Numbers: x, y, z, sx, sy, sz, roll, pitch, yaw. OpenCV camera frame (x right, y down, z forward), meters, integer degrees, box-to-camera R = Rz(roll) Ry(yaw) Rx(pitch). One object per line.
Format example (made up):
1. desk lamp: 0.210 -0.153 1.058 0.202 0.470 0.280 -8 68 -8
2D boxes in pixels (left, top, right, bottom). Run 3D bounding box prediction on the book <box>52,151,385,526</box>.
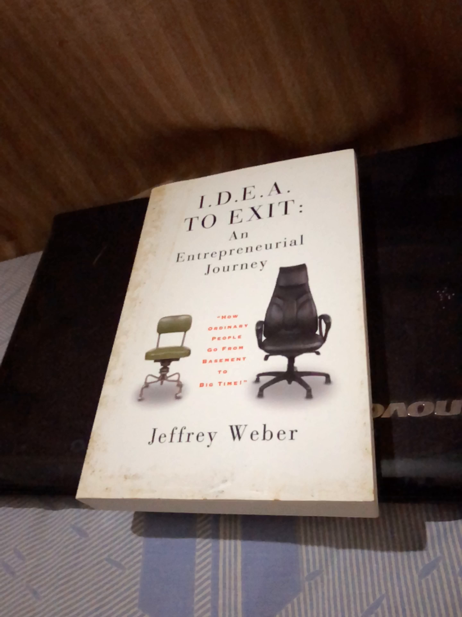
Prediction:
1. book: 0.000 0.004 0.321 0.160 0.030 0.240 -7 51 17
